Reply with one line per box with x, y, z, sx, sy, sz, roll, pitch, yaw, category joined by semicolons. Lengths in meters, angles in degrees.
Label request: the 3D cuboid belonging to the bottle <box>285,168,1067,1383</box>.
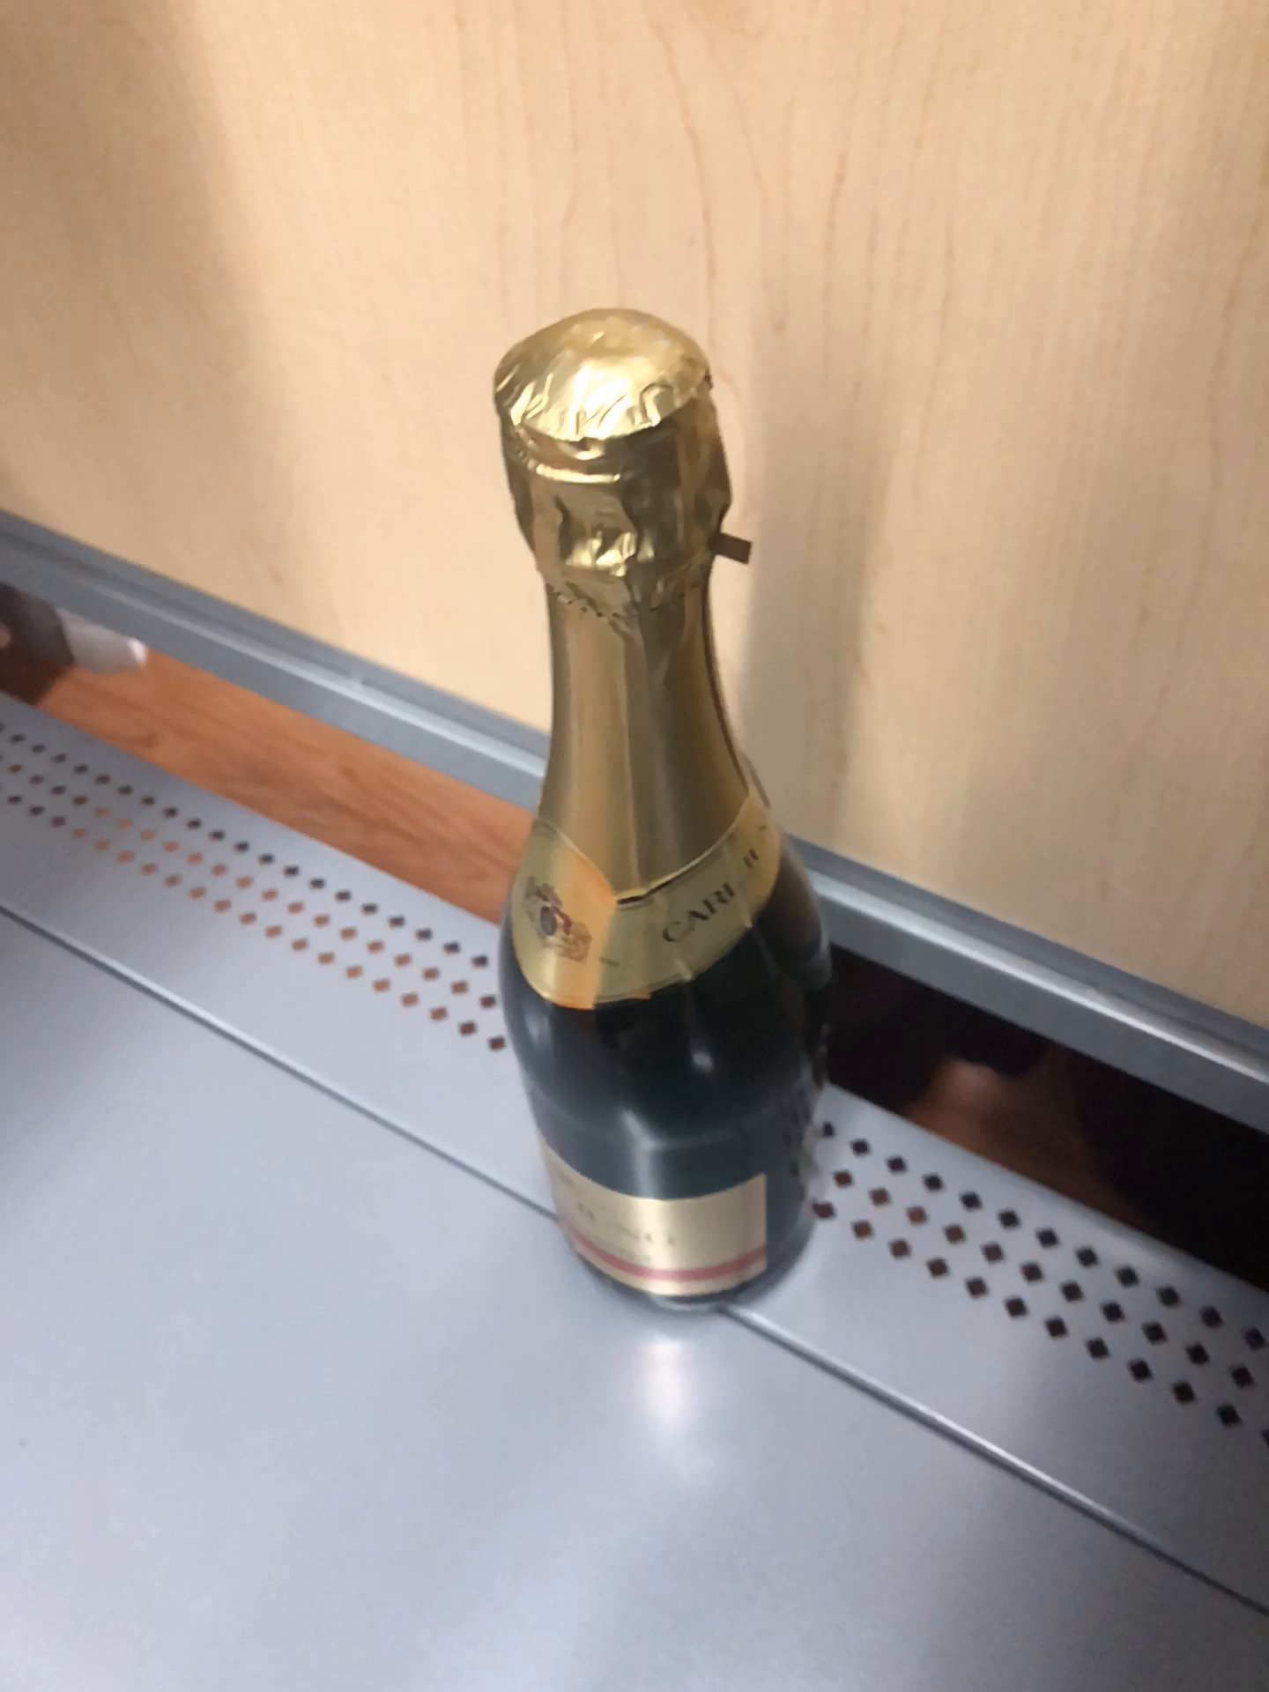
0.012;0.016;0.340;0.090;0.298;0.091;-2;51;3;bottle
